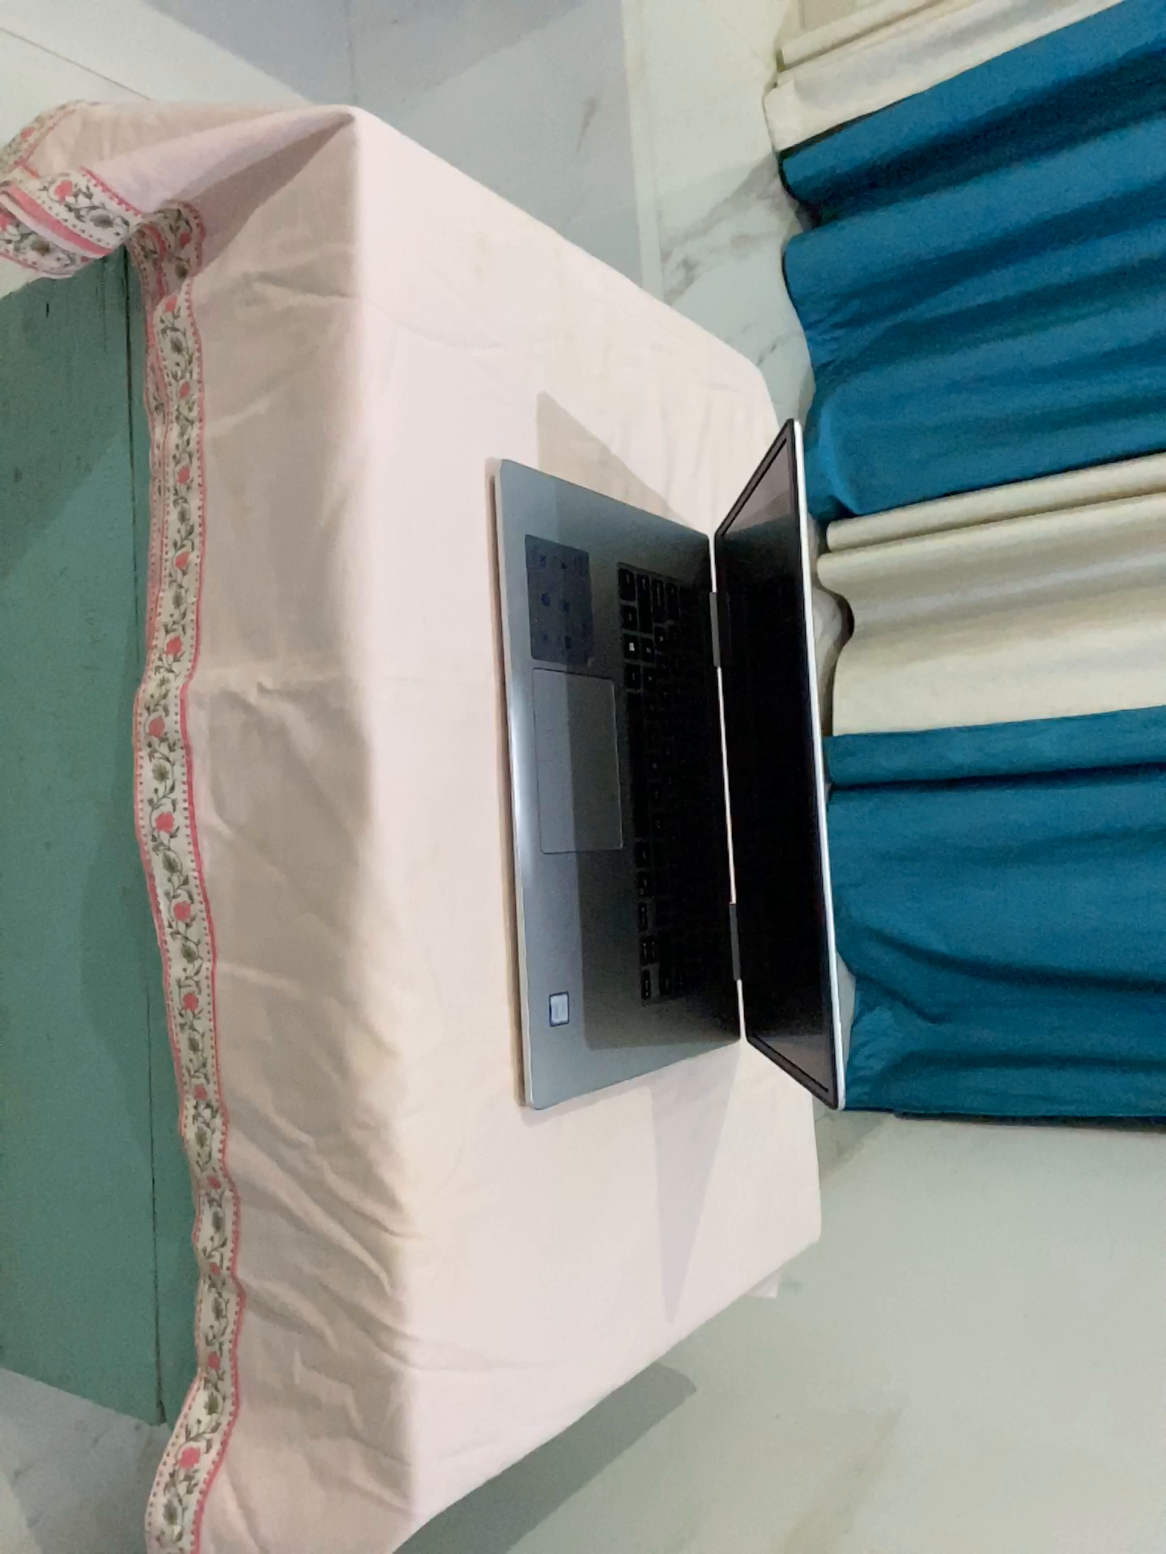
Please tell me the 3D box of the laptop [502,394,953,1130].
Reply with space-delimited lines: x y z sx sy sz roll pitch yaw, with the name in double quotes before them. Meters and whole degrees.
"laptop" 0.094 -0.002 0.697 0.235 0.148 0.347 1 85 -55
